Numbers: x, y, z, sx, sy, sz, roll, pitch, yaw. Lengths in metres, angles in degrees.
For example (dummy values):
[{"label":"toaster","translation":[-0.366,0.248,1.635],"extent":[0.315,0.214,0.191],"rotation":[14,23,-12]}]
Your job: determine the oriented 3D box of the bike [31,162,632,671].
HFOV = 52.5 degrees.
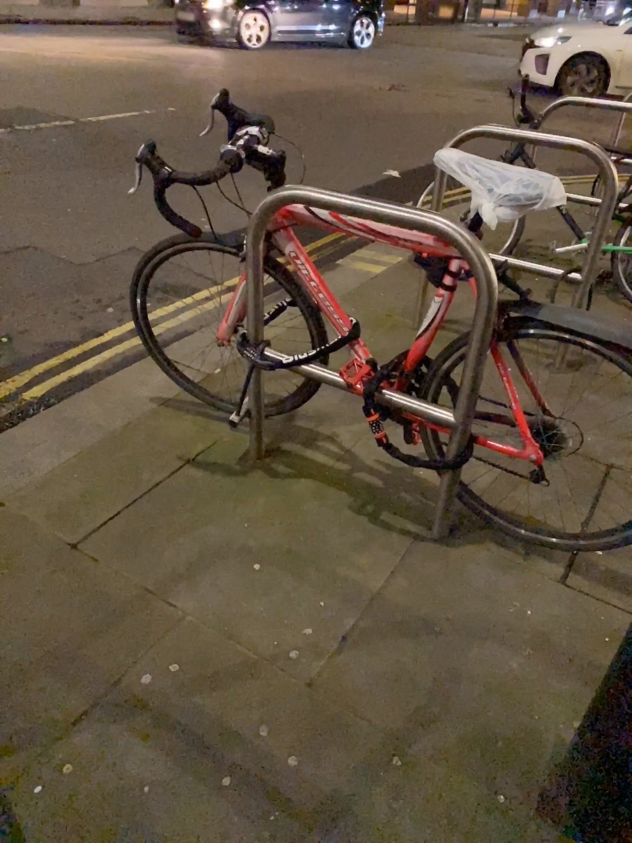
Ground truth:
[{"label":"bike","translation":[0.088,-0.133,1.778],"extent":[1.661,0.809,0.539],"rotation":[20,38,24]}]
